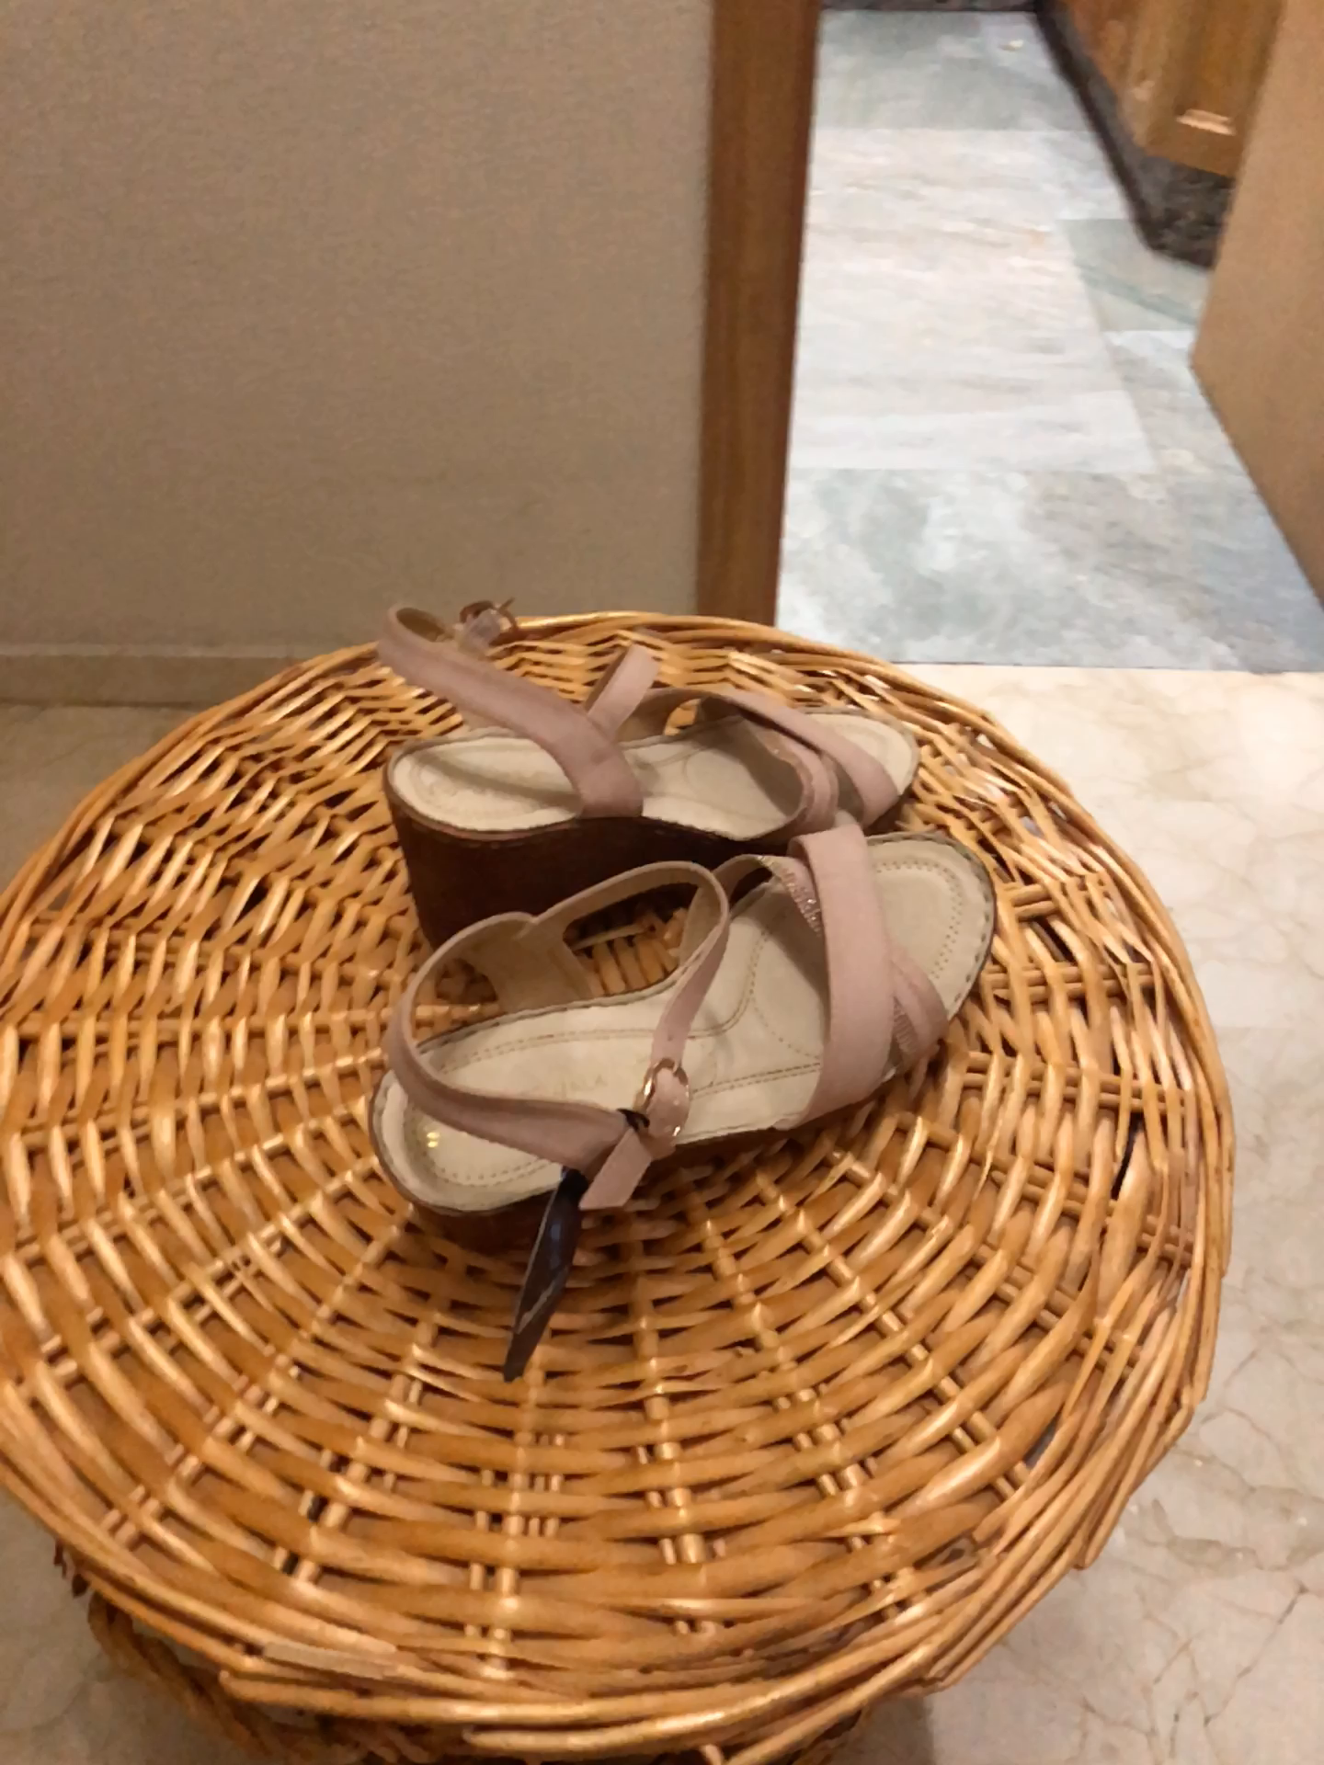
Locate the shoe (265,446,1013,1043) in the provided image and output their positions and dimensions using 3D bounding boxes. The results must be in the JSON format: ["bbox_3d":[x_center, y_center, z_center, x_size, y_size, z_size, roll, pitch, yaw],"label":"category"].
[{"bbox_3d":[-0.003,-0.063,0.563,0.251,0.100,0.112,-27,51,-24],"label":"shoe"}]

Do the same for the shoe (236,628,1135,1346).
[{"bbox_3d":[0.013,0.025,0.482,0.261,0.104,0.100,-24,50,-21],"label":"shoe"}]
